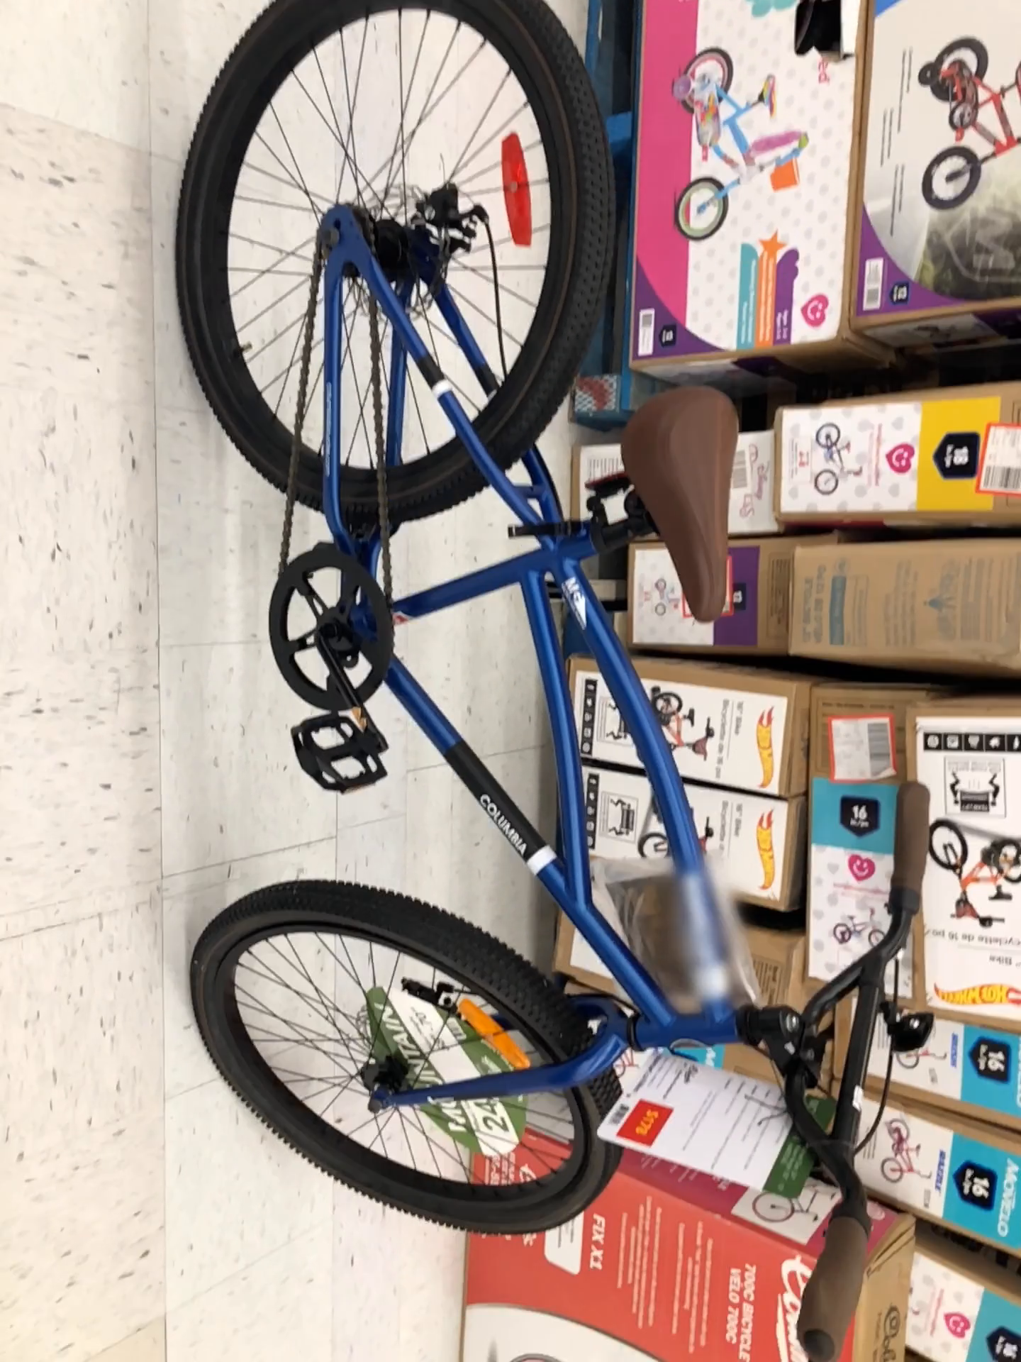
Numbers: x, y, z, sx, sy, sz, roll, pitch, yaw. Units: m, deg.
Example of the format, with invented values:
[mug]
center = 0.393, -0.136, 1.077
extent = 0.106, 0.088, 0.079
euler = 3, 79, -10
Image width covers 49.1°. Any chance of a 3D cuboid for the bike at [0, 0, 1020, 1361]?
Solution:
[bike]
center = 0.059, 0.001, 1.287
extent = 0.652, 0.928, 1.552
euler = -18, 108, -50
